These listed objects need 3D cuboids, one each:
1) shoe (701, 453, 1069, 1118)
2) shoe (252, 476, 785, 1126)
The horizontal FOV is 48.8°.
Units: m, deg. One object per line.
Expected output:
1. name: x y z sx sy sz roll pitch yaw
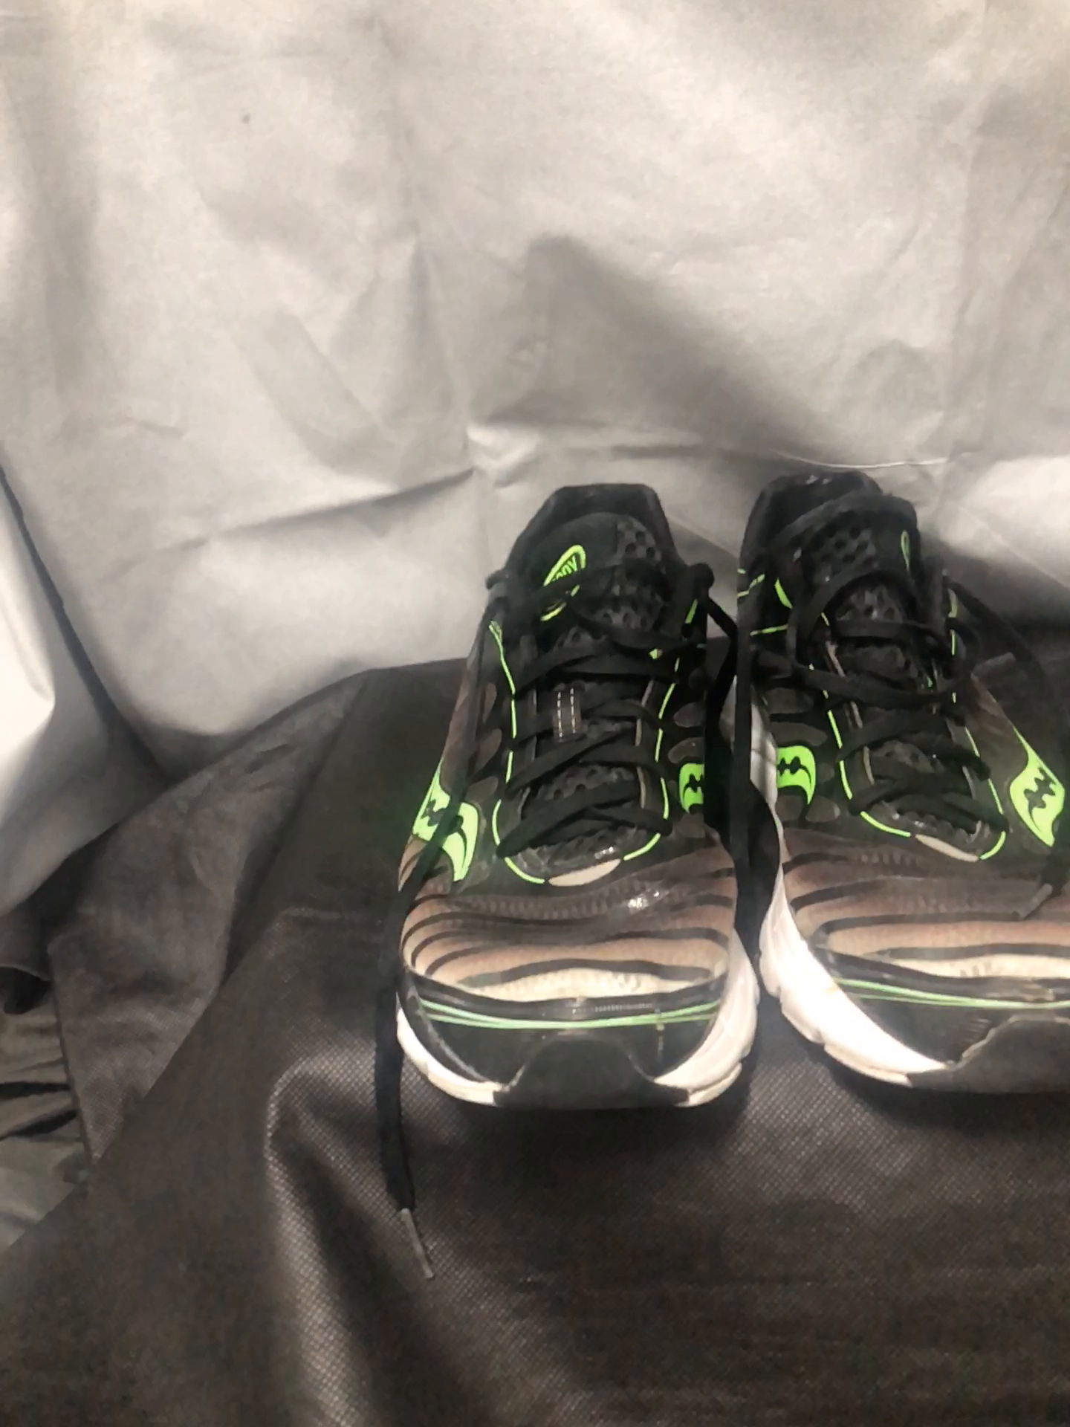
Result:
1. shoe: 0.119 0.002 0.368 0.114 0.097 0.225 -2 29 4
2. shoe: 0.003 0.008 0.378 0.116 0.096 0.225 -2 29 4
